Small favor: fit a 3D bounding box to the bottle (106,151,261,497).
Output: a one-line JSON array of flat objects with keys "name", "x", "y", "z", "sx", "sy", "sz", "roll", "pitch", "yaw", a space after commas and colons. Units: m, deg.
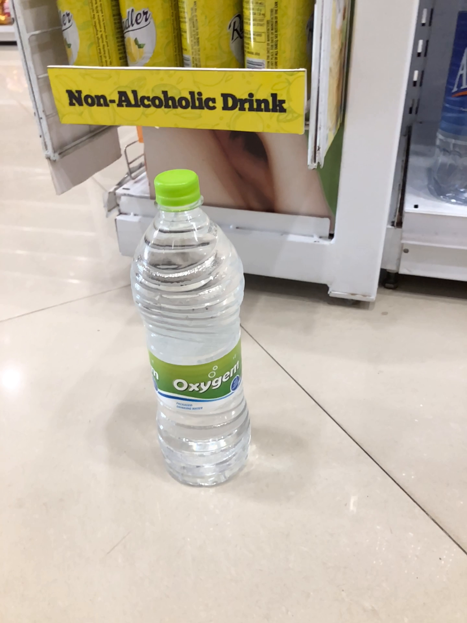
[{"name": "bottle", "x": -0.031, "y": 0.020, "z": 0.403, "sx": 0.090, "sy": 0.258, "sz": 0.080, "roll": -7, "pitch": 32, "yaw": -7}]
